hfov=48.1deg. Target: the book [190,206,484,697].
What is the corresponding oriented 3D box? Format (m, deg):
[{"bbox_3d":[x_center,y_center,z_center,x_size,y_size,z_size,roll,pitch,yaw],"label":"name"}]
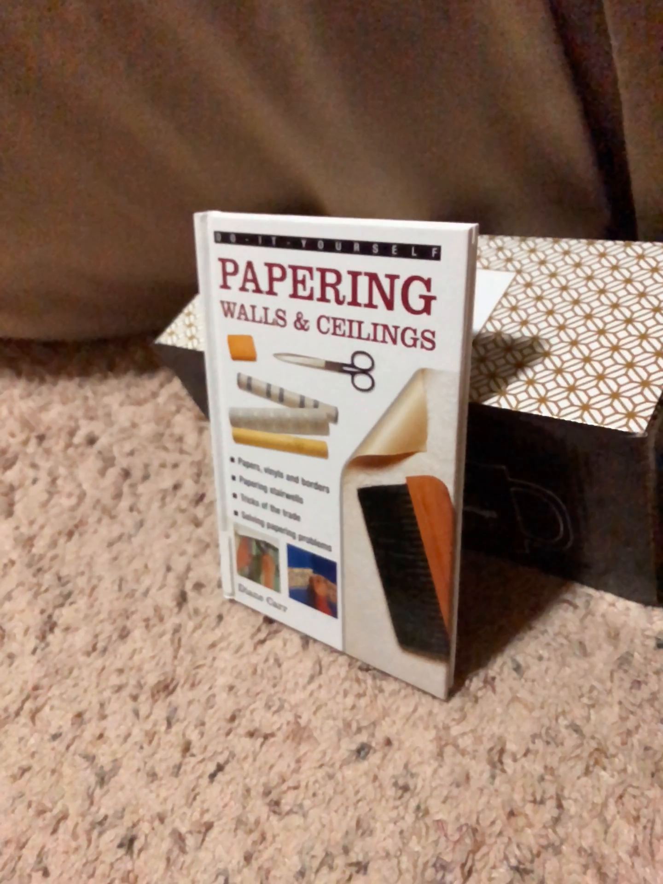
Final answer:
[{"bbox_3d":[-0.003,0.001,0.343,0.143,0.207,0.015,15,26,36],"label":"book"}]
